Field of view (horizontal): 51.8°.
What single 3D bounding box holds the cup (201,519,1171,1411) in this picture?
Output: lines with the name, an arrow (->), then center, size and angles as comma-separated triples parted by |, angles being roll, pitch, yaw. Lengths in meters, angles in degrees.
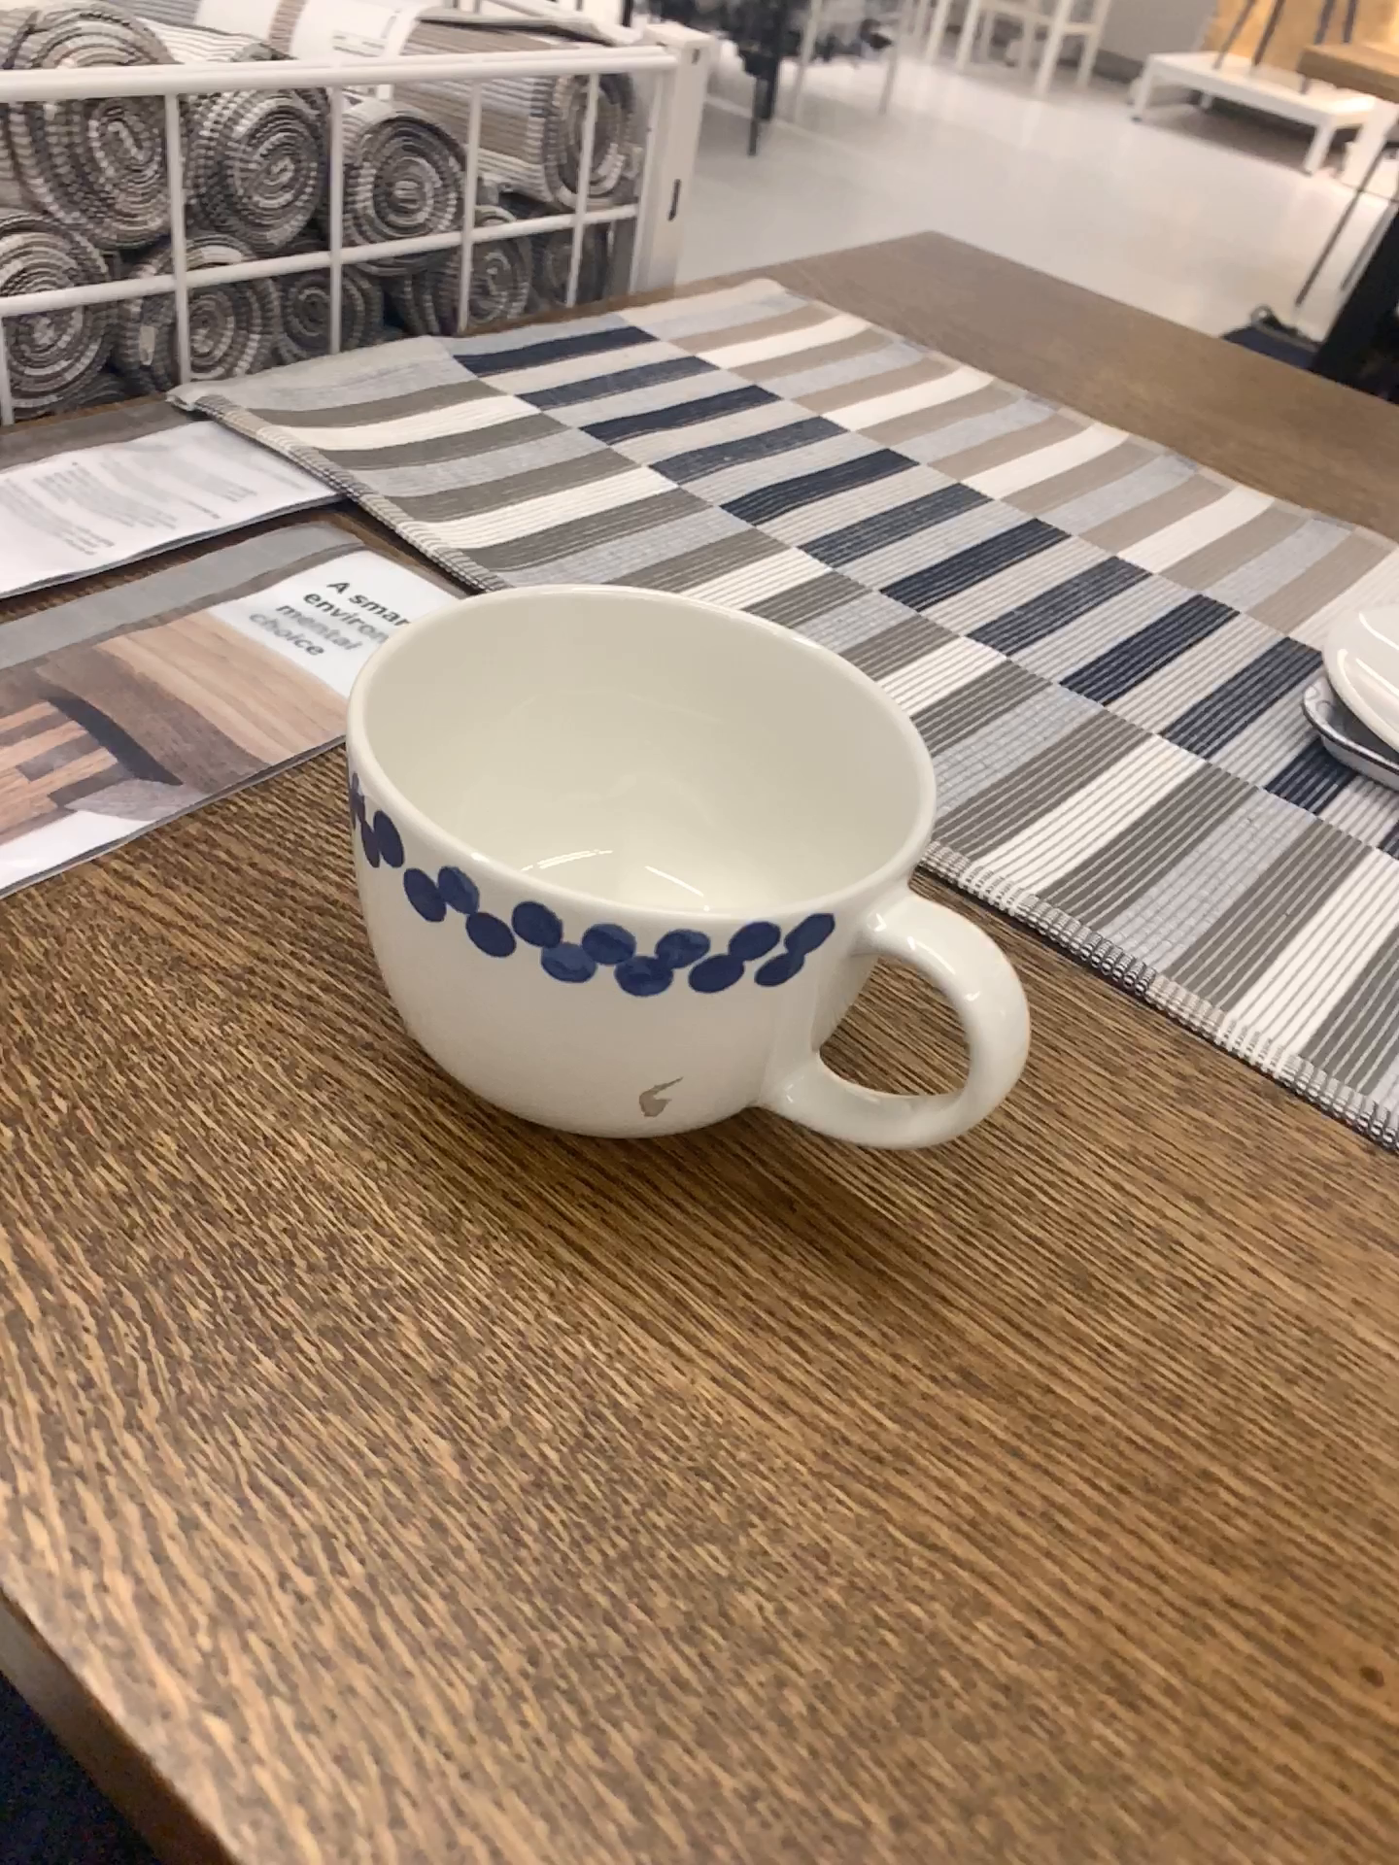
cup -> -0.006, -0.006, 0.262 | 0.130, 0.070, 0.100 | 34, 44, 24
